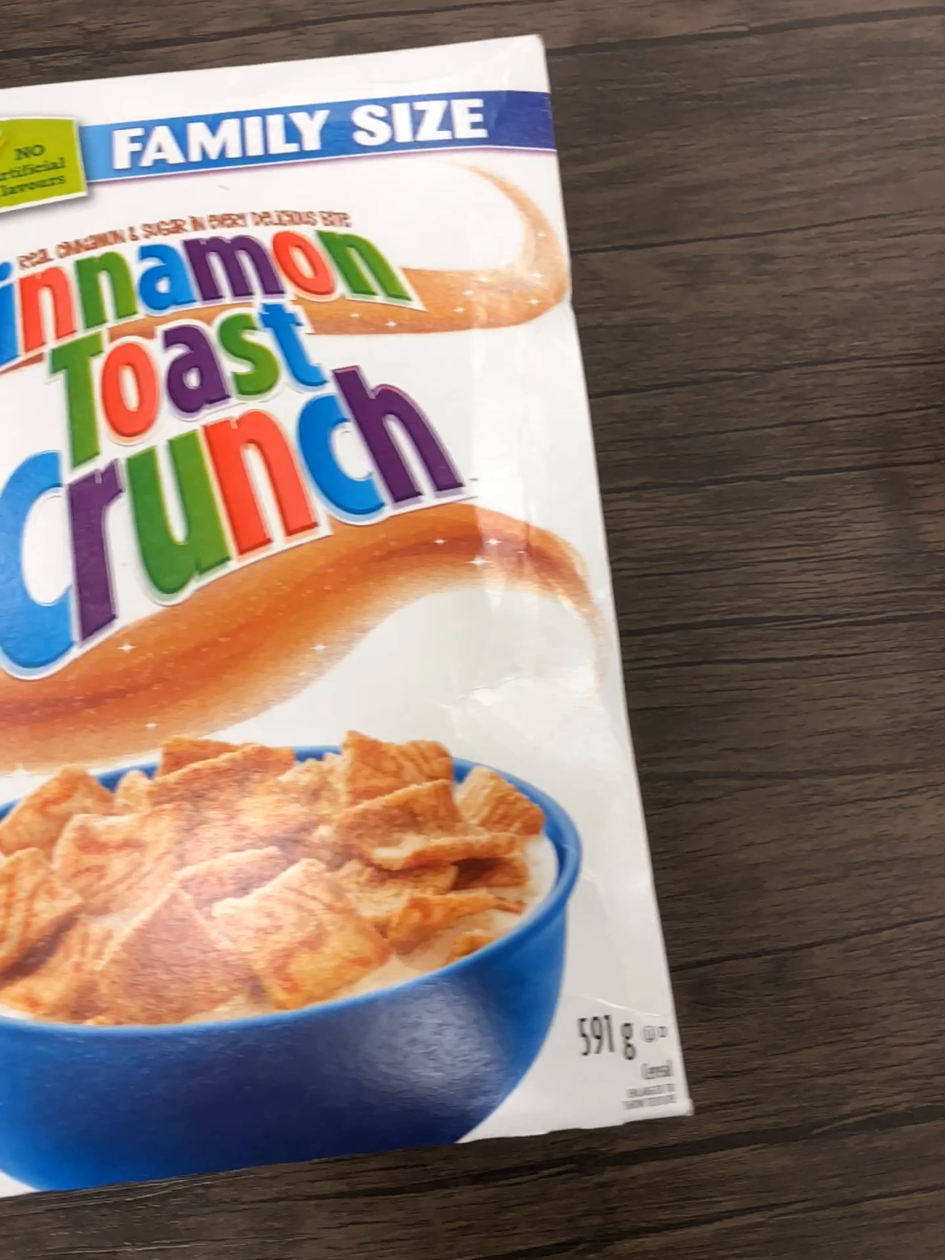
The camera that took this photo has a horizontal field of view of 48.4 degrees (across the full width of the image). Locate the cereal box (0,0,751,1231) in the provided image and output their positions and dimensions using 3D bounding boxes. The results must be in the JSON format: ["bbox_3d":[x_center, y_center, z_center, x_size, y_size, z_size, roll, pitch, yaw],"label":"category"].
[{"bbox_3d":[-0.073,-0.031,0.339,0.250,0.070,0.360,-6,78,-3],"label":"cereal box"}]
